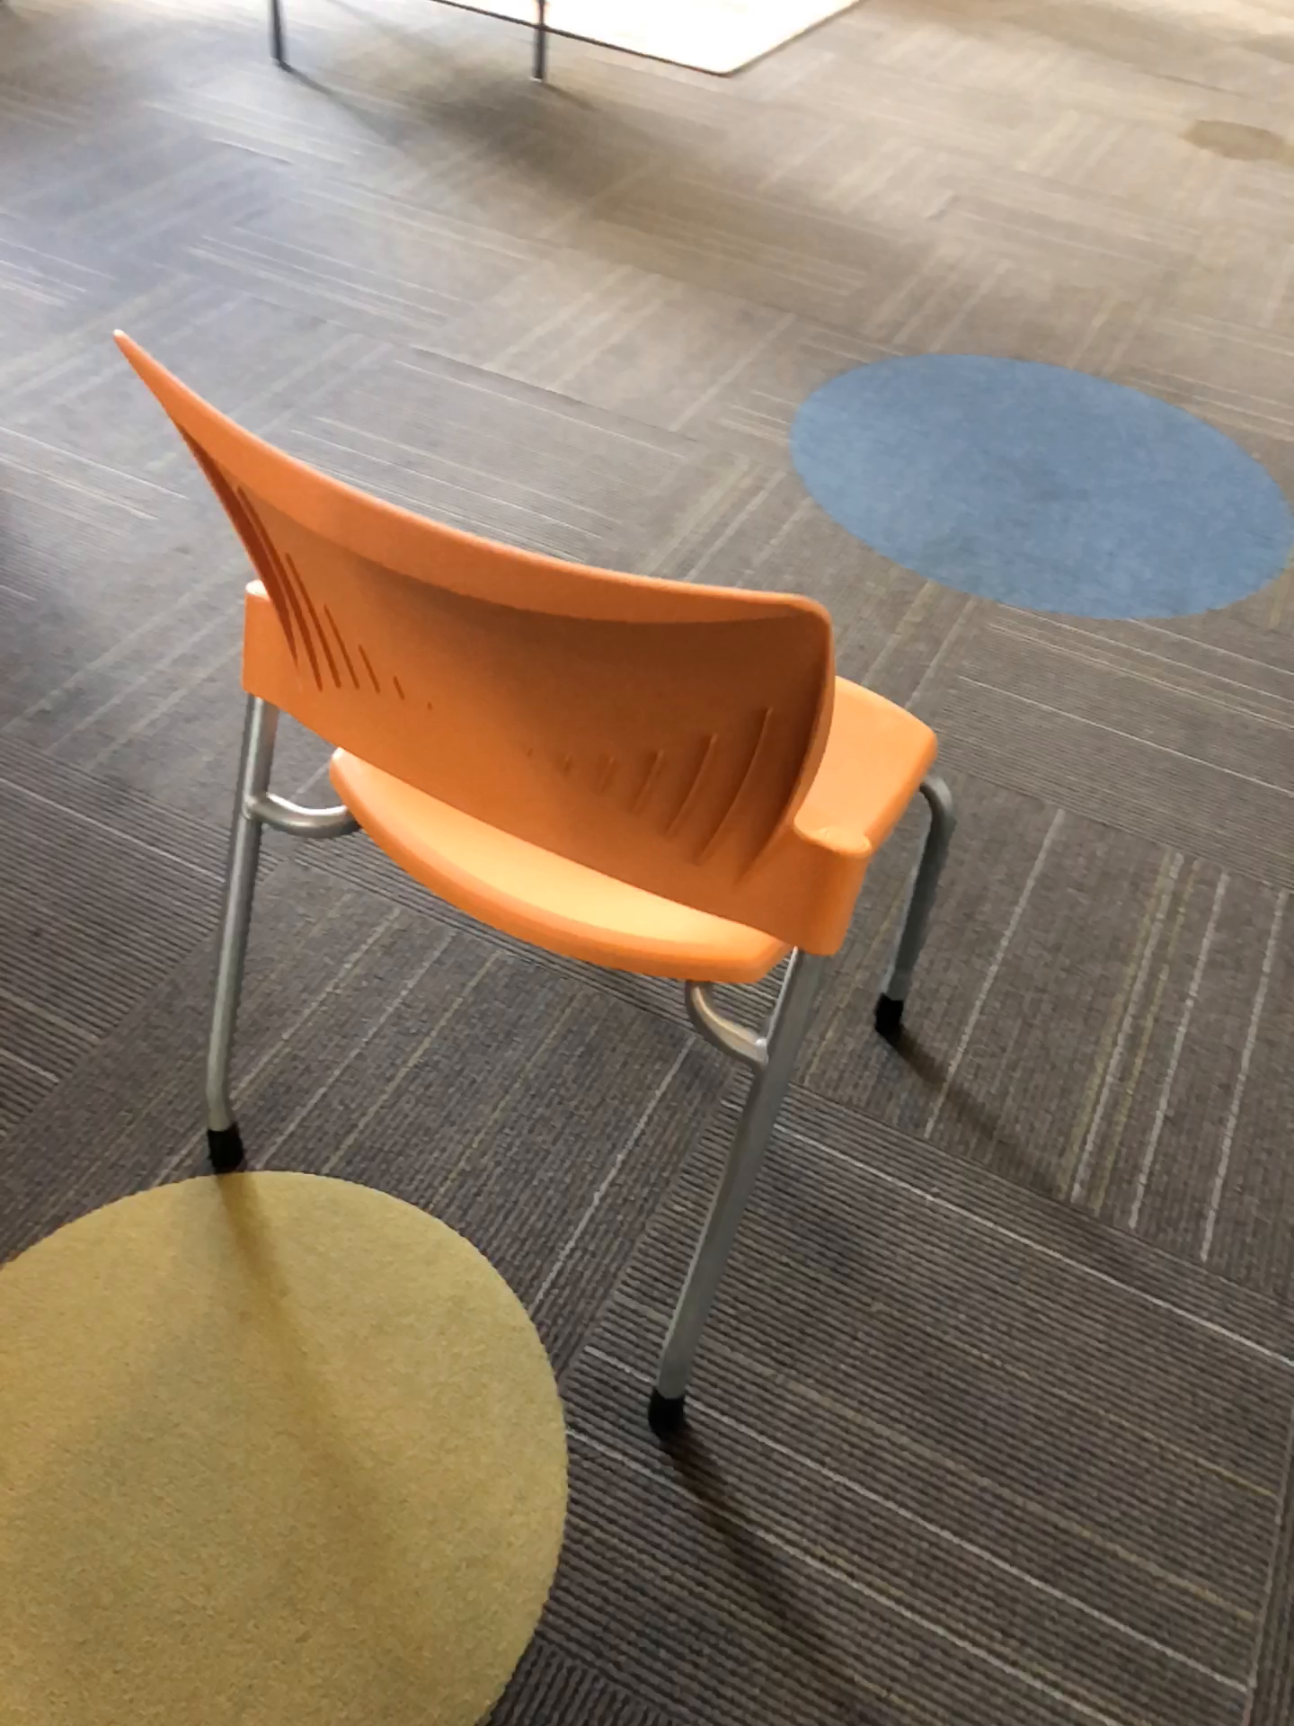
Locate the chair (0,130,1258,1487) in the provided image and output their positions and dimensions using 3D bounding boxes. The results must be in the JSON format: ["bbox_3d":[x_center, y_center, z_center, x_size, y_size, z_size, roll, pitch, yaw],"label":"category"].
[{"bbox_3d":[-0.012,-0.065,1.195,0.641,0.747,0.612,24,46,17],"label":"chair"}]
